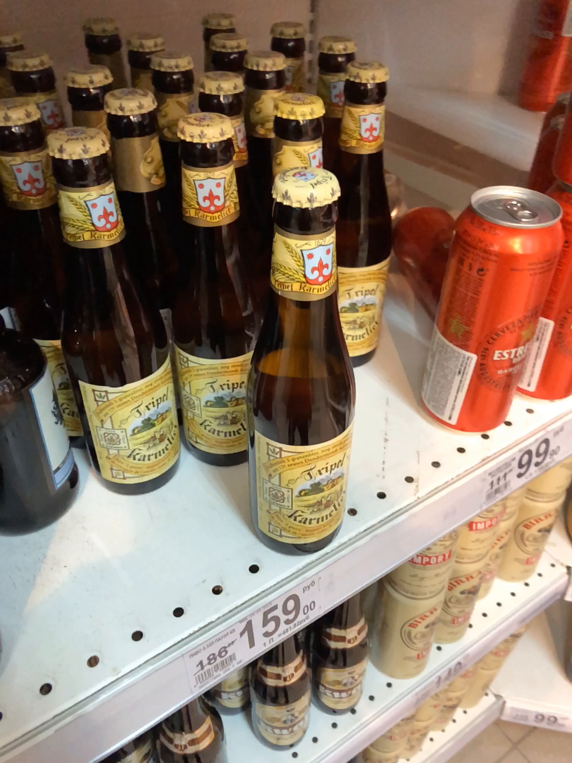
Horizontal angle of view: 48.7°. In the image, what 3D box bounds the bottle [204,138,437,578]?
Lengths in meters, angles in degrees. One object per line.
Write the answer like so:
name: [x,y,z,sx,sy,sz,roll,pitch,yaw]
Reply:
bottle: [0.010,-0.001,0.333,0.070,0.219,0.070,1,40,-1]
